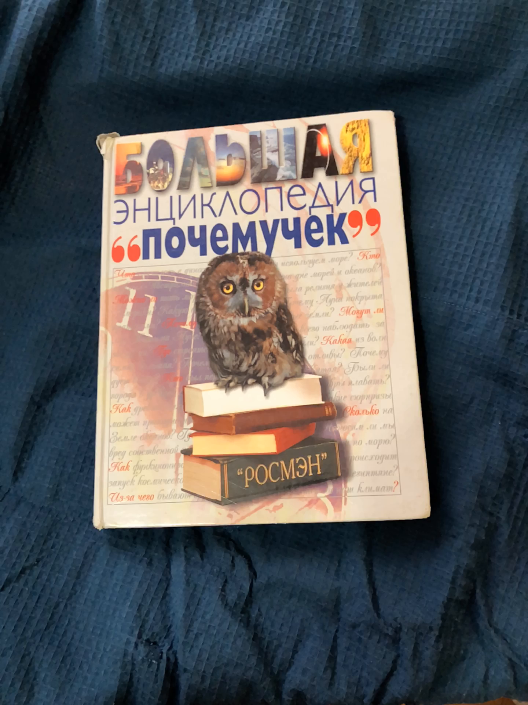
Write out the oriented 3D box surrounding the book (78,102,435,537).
[{"bbox_3d":[-0.012,-0.028,0.428,0.235,0.030,0.305,-4,77,6],"label":"book"}]
